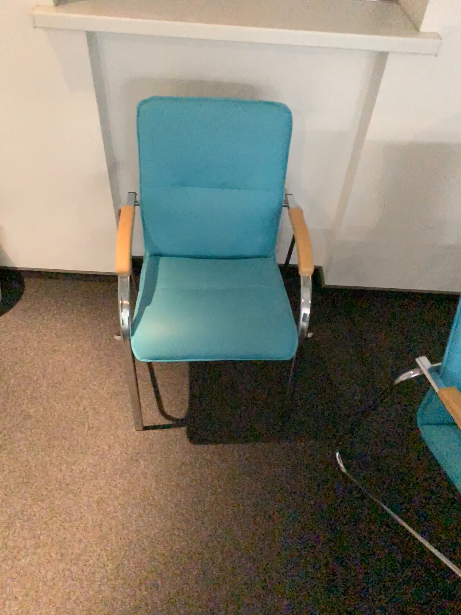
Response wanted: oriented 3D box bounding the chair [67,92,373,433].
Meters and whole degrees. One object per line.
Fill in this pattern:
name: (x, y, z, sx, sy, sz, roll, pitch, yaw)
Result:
chair: (-0.052, -0.107, 1.492, 0.630, 0.856, 0.633, 0, 47, -4)
